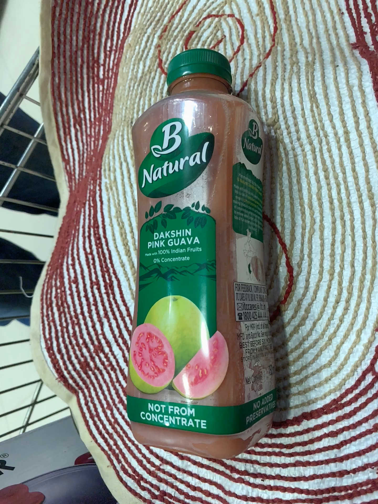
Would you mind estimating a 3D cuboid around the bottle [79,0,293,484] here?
[{"bbox_3d":[0.001,-0.017,0.198,0.080,0.060,0.210,-5,80,30],"label":"bottle"}]
